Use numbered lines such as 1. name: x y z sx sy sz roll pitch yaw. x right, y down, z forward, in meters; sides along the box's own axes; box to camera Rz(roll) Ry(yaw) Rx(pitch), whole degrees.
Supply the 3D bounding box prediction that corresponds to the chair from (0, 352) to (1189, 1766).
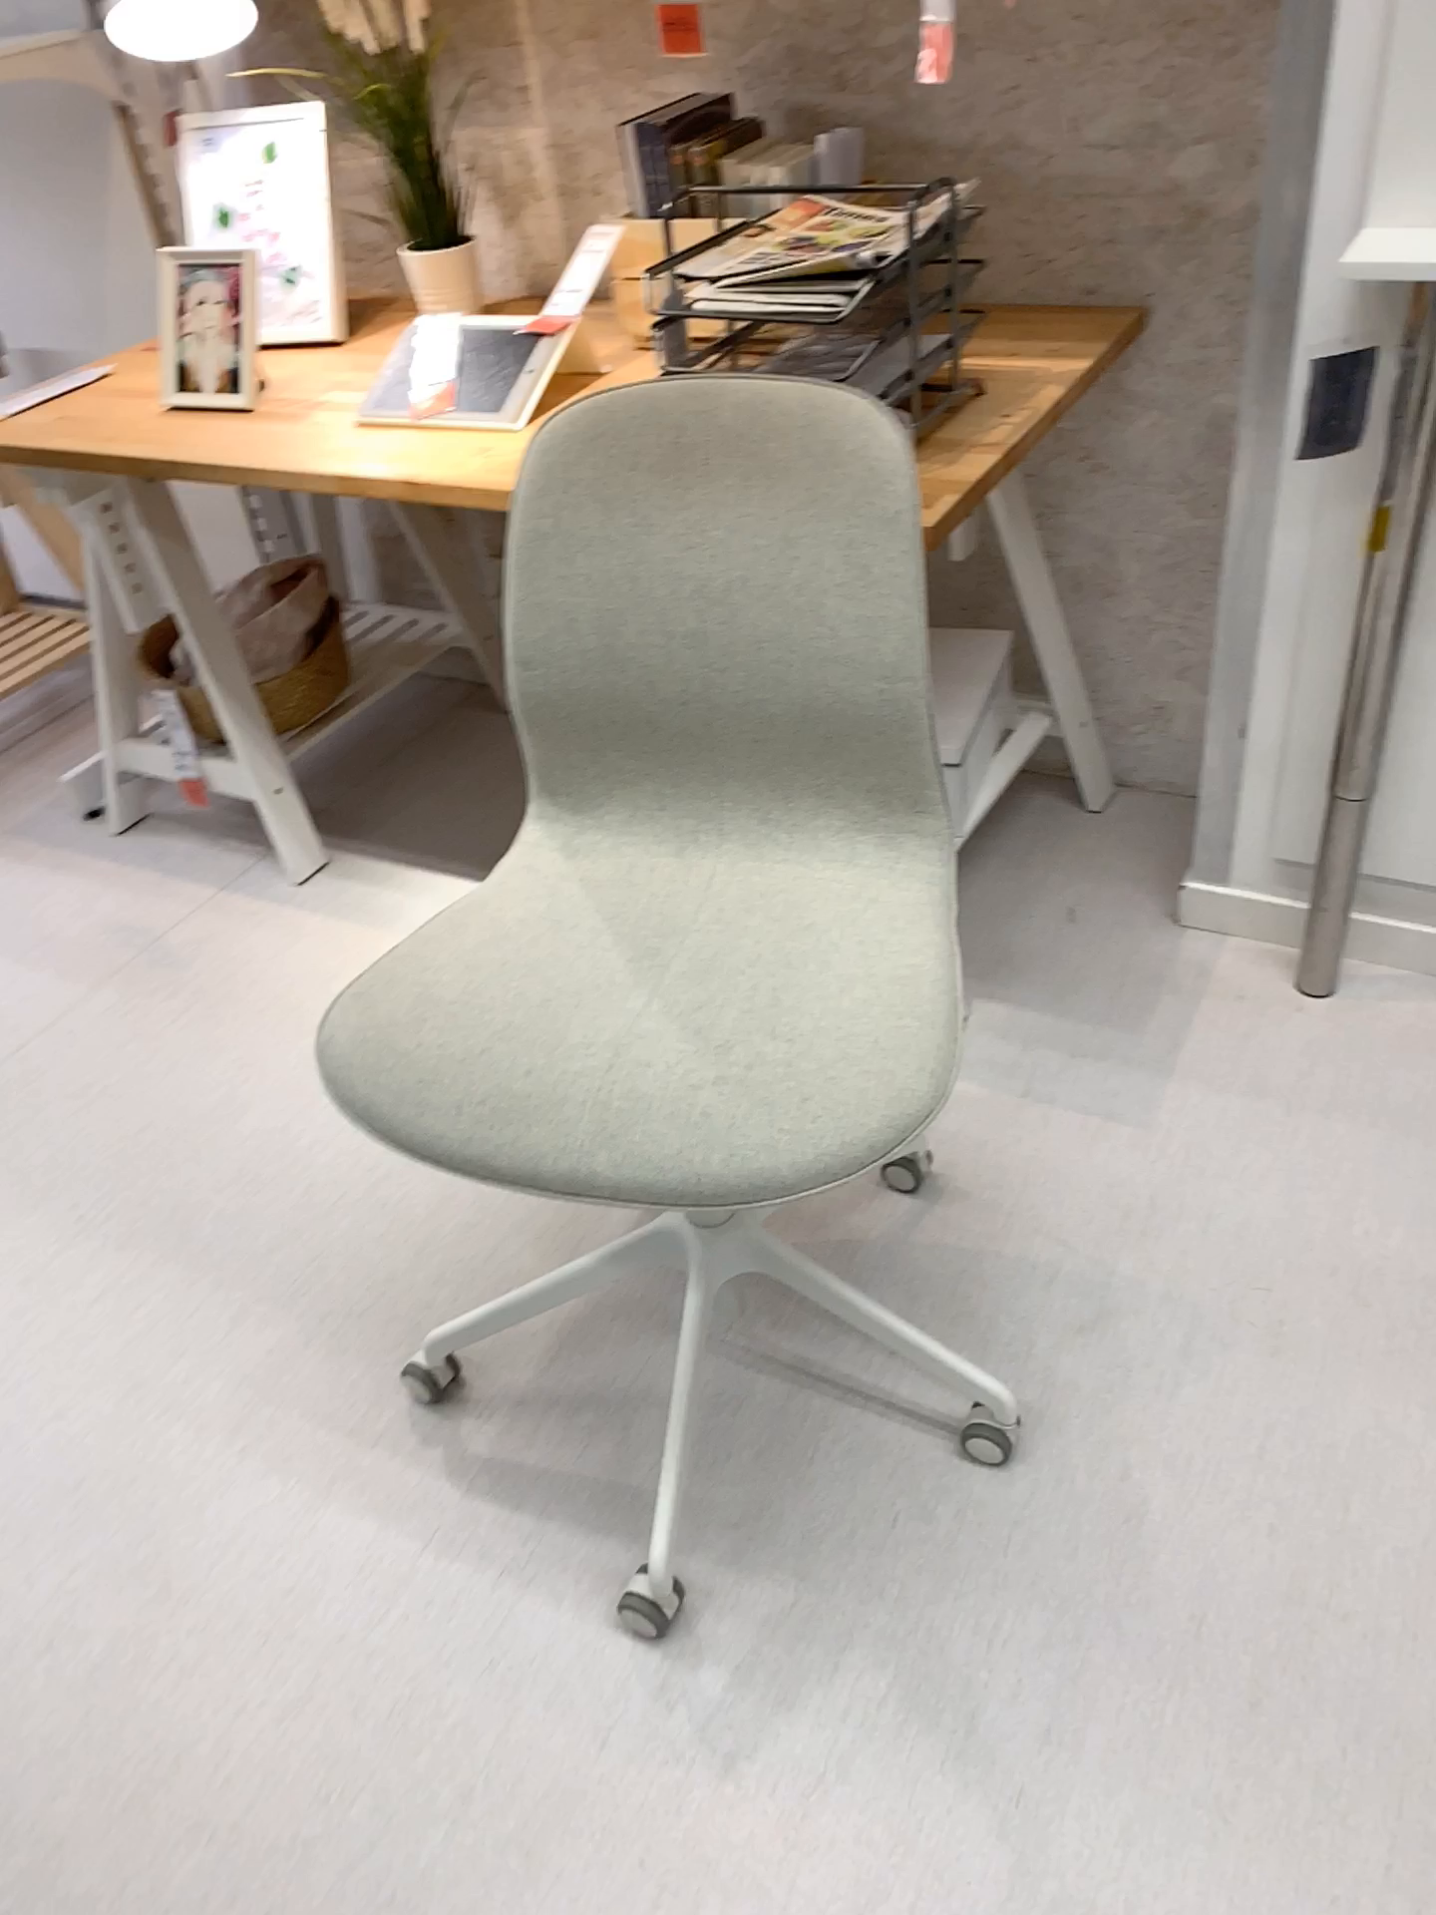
1. chair: -0.031 0.038 1.230 0.661 0.866 0.662 9 40 21
